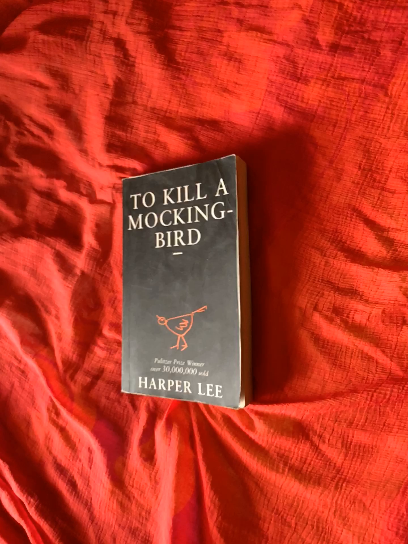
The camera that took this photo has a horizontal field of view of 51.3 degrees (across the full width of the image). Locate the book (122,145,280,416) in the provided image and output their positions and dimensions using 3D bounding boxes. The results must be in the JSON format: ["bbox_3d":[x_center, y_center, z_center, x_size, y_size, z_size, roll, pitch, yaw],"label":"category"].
[{"bbox_3d":[-0.005,0.007,0.325,0.110,0.040,0.180,-3,87,28],"label":"book"}]
